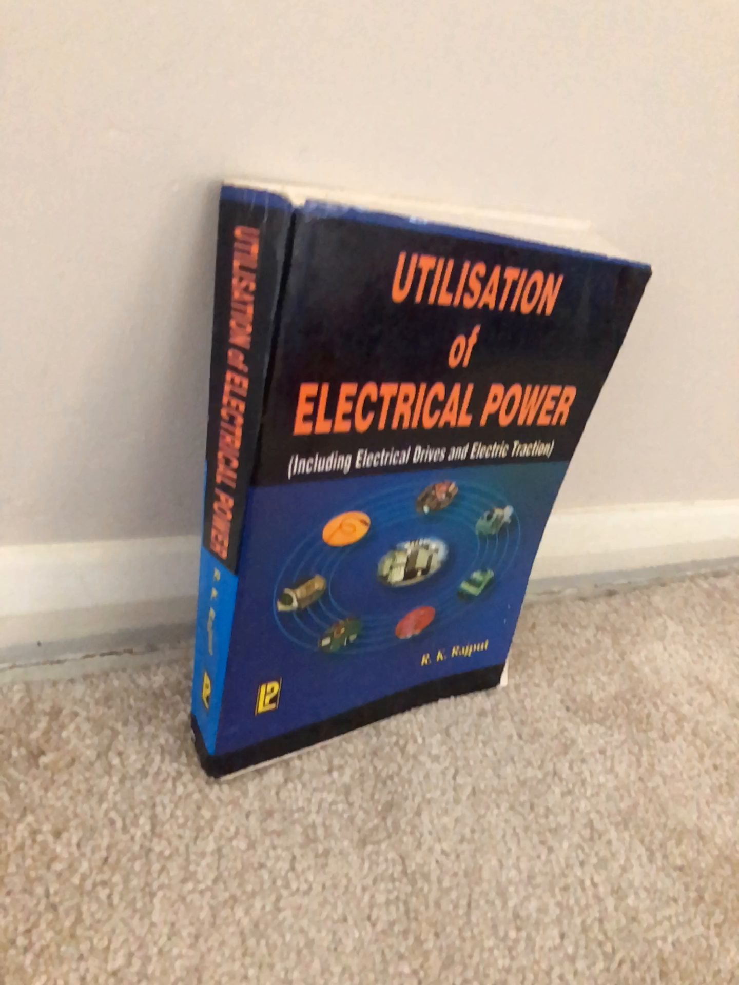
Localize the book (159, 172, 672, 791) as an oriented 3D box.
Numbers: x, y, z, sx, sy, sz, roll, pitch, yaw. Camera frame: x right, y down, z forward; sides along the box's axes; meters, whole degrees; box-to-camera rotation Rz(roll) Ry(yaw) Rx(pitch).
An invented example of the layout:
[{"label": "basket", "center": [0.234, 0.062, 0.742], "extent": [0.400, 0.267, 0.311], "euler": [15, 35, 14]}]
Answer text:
[{"label": "book", "center": [0.018, -0.003, 0.358], "extent": [0.191, 0.229, 0.050], "euler": [-7, 29, -36]}]
